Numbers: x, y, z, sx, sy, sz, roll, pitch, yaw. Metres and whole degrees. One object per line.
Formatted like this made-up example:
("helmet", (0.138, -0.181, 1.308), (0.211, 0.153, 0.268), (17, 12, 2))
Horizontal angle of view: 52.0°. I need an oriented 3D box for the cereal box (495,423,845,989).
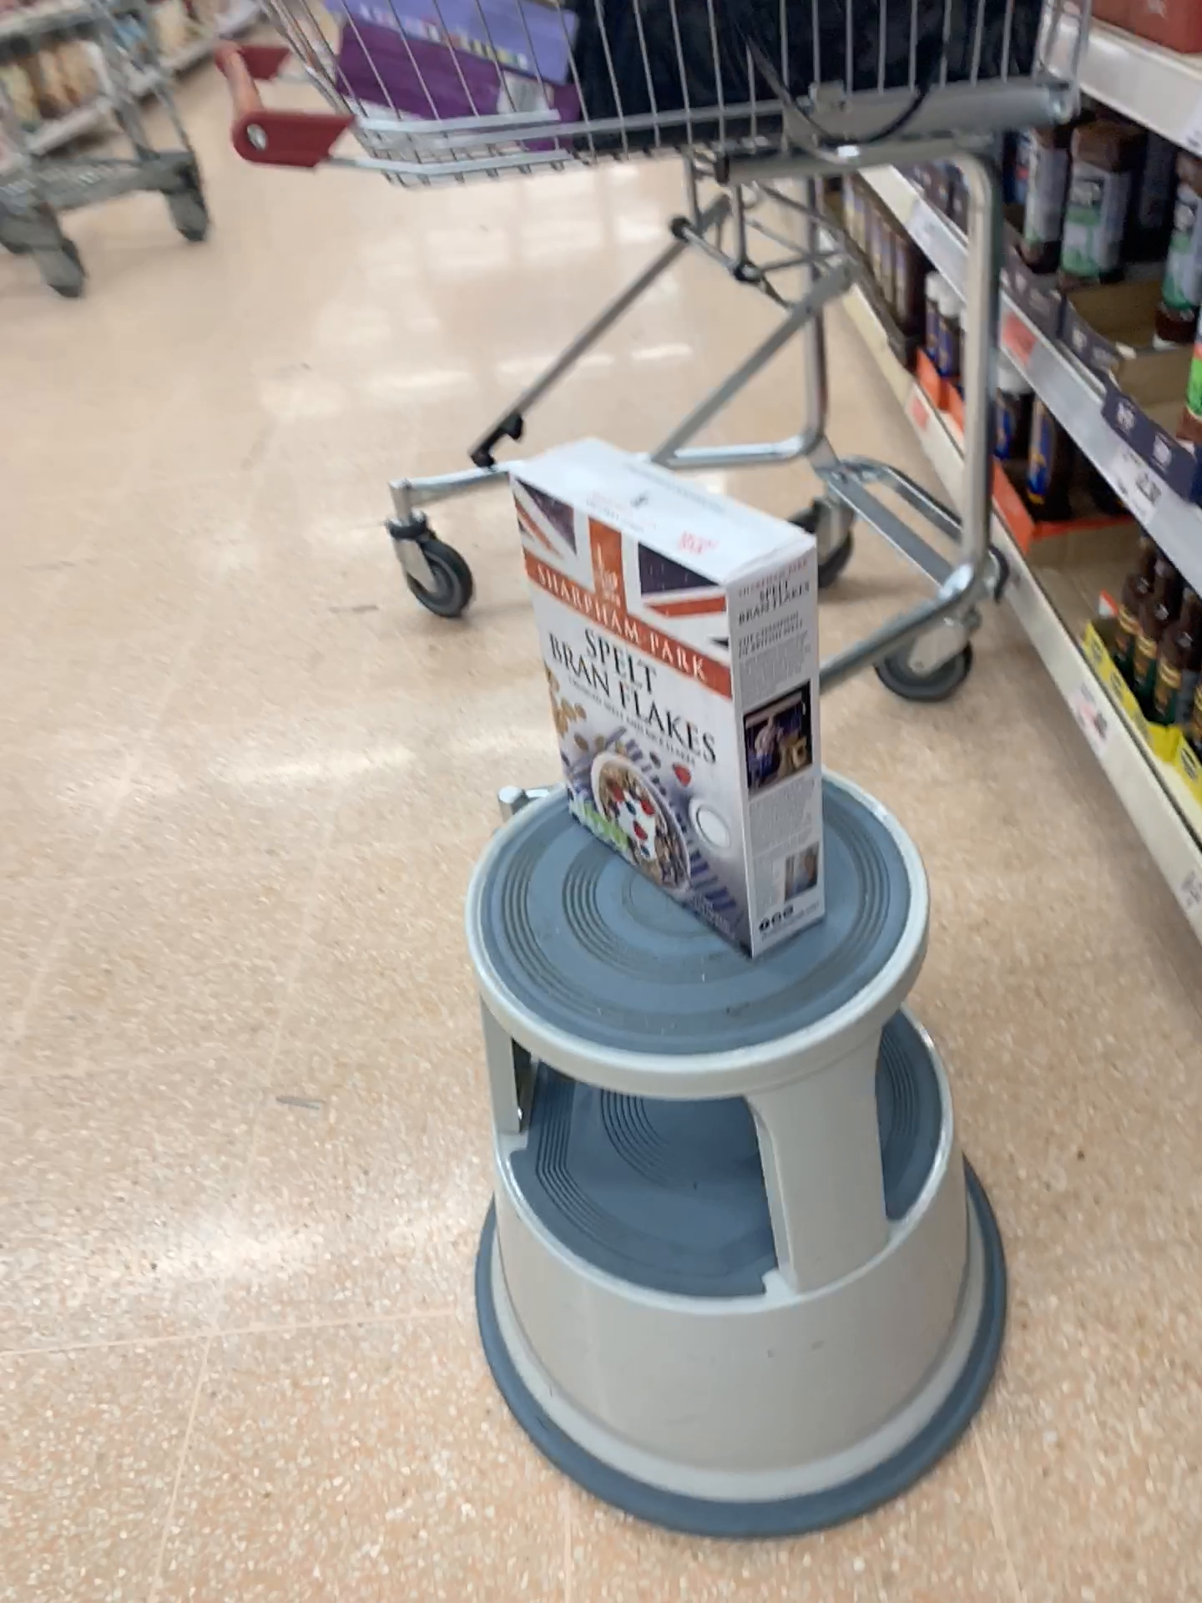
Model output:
("cereal box", (0.043, -0.055, 0.703), (0.070, 0.258, 0.202), (-28, 42, -22))
